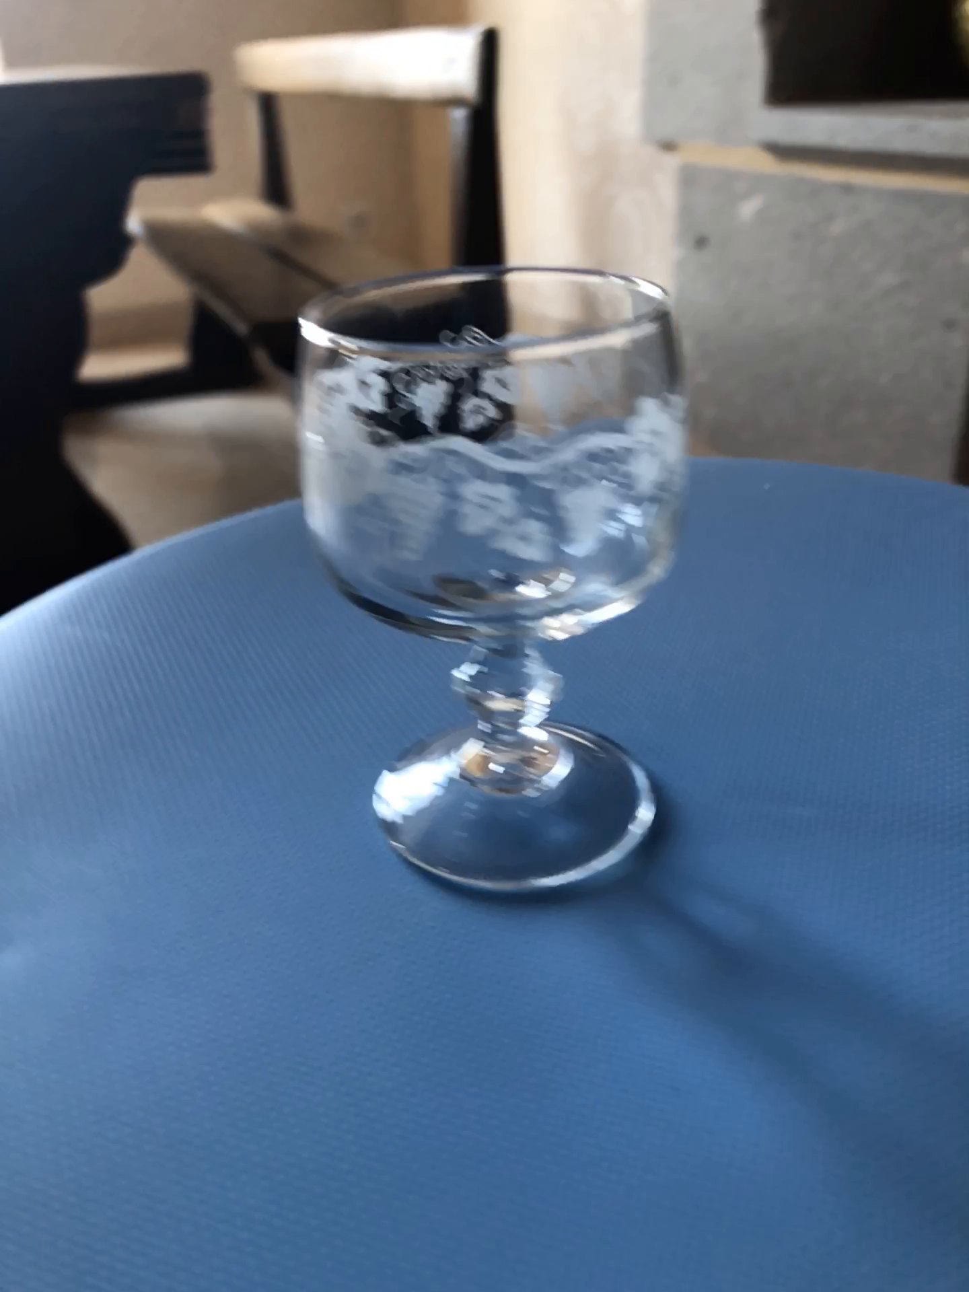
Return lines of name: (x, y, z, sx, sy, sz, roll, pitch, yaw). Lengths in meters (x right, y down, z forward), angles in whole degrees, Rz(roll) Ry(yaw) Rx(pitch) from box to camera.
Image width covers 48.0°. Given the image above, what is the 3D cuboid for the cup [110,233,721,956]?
cup: (-0.002, -0.012, 0.155, 0.060, 0.080, 0.060, -3, 29, 1)
